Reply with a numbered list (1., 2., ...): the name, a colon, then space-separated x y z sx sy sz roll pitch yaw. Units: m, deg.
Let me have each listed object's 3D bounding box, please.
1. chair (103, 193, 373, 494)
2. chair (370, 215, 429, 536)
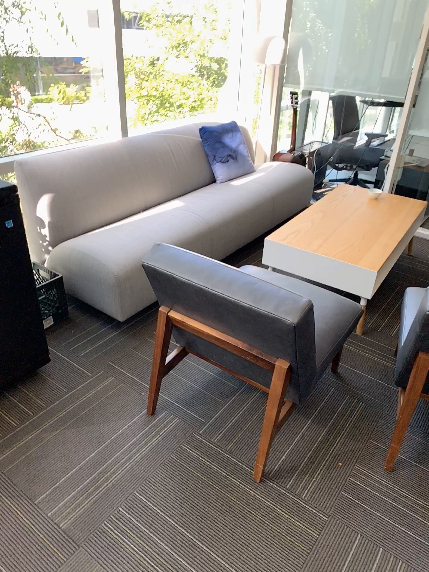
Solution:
1. chair: 0.123 0.153 1.913 0.742 0.765 0.853 19 35 26
2. chair: 1.107 0.274 1.792 0.681 0.765 0.854 13 32 17
